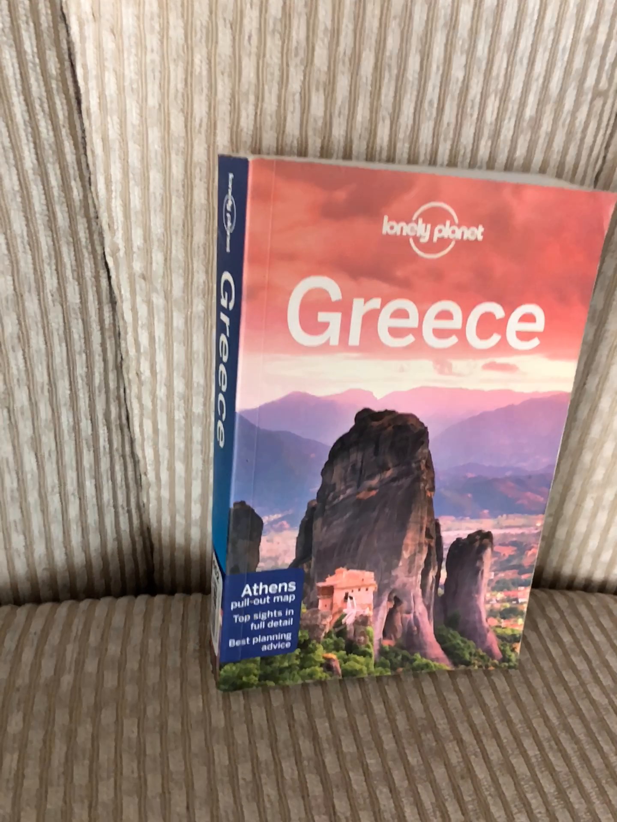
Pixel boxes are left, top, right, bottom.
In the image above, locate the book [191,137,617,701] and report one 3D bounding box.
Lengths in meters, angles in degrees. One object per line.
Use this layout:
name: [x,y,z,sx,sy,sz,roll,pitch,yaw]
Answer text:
book: [0.024,0.010,0.262,0.132,0.201,0.041,1,19,-11]
